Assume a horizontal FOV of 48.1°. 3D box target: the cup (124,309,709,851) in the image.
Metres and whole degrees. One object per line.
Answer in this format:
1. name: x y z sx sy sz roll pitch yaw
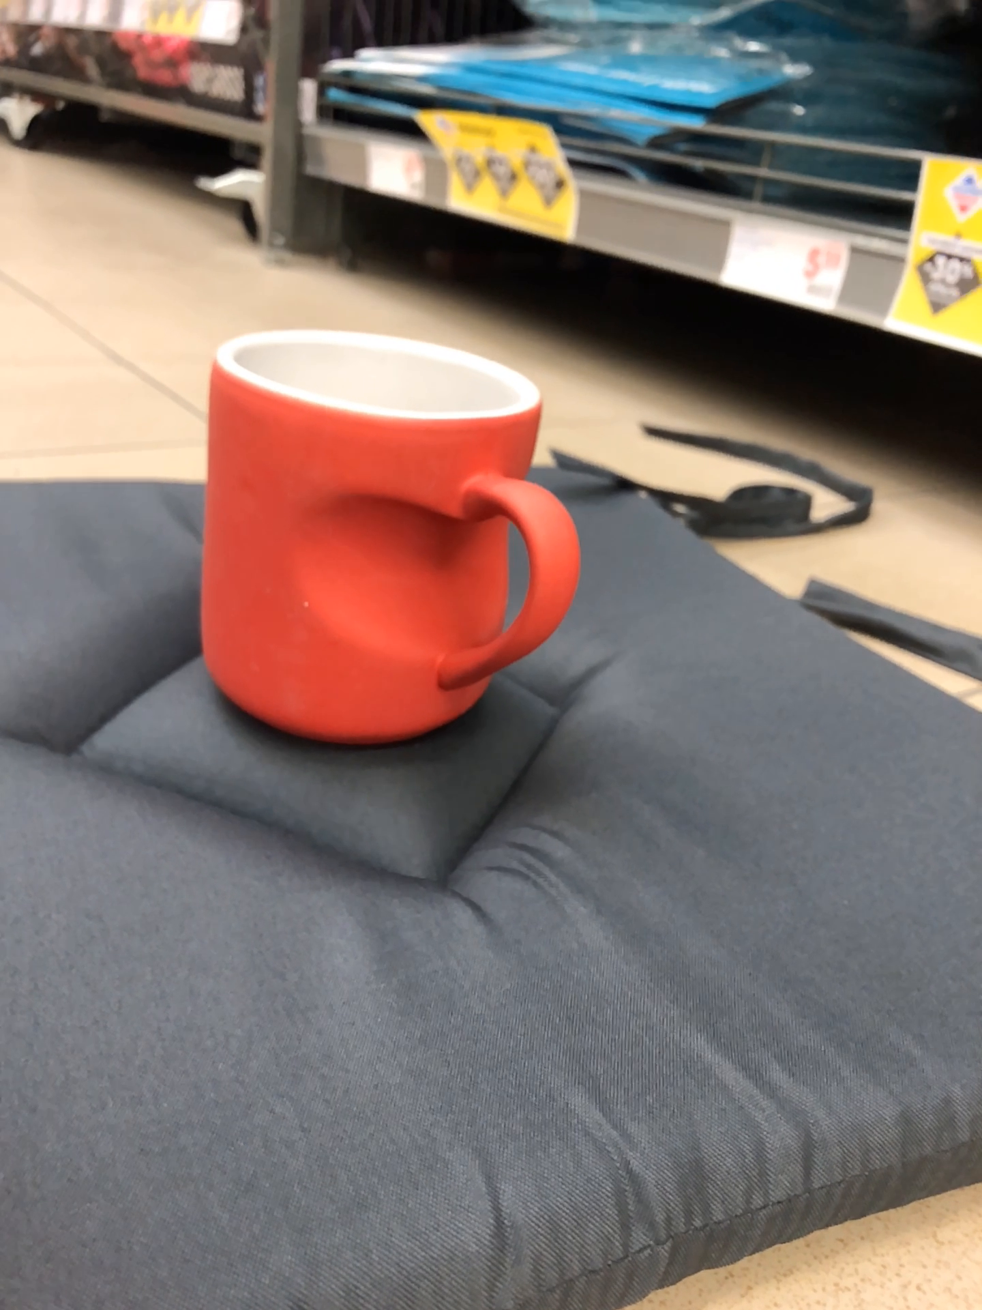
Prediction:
1. cup: -0.027 -0.031 0.285 0.090 0.089 0.120 -13 32 -37
